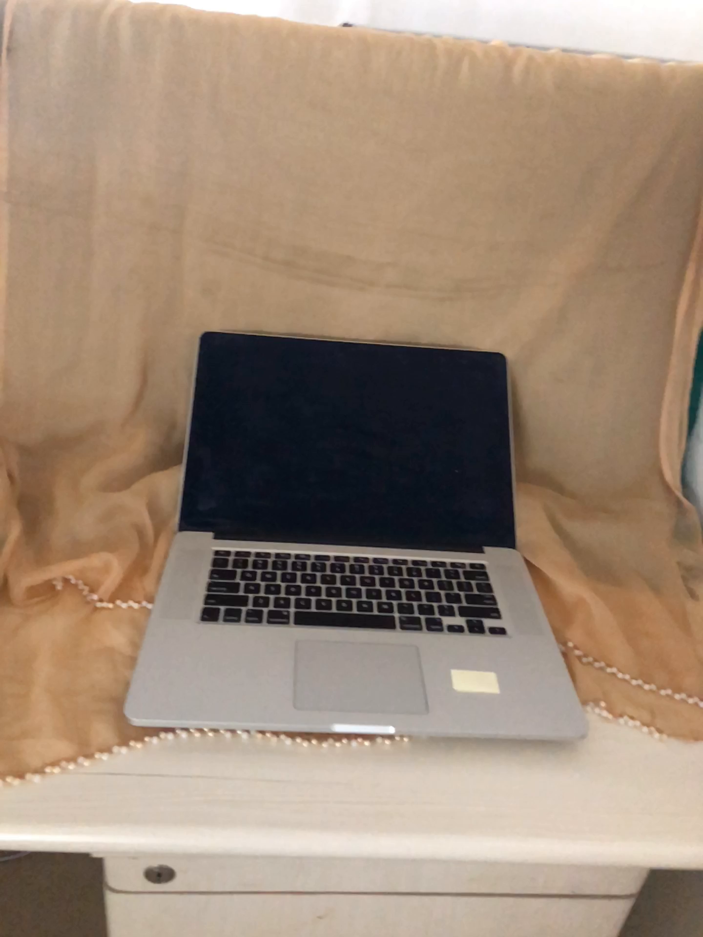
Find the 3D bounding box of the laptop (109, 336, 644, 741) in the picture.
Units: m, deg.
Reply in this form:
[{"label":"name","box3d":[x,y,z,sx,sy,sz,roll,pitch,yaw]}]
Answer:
[{"label":"laptop","box3d":[0.006,0.029,0.690,0.336,0.135,0.407,4,30,-5]}]
